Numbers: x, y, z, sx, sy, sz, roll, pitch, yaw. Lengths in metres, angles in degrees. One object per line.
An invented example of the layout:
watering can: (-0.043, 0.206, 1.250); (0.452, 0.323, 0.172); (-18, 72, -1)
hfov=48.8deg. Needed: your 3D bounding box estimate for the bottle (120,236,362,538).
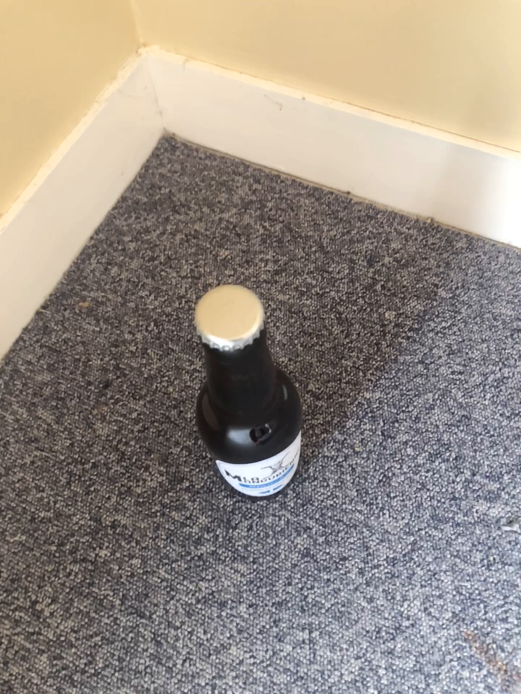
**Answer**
bottle: (-0.004, 0.041, 0.309); (0.070, 0.209, 0.070); (-1, 64, 3)
